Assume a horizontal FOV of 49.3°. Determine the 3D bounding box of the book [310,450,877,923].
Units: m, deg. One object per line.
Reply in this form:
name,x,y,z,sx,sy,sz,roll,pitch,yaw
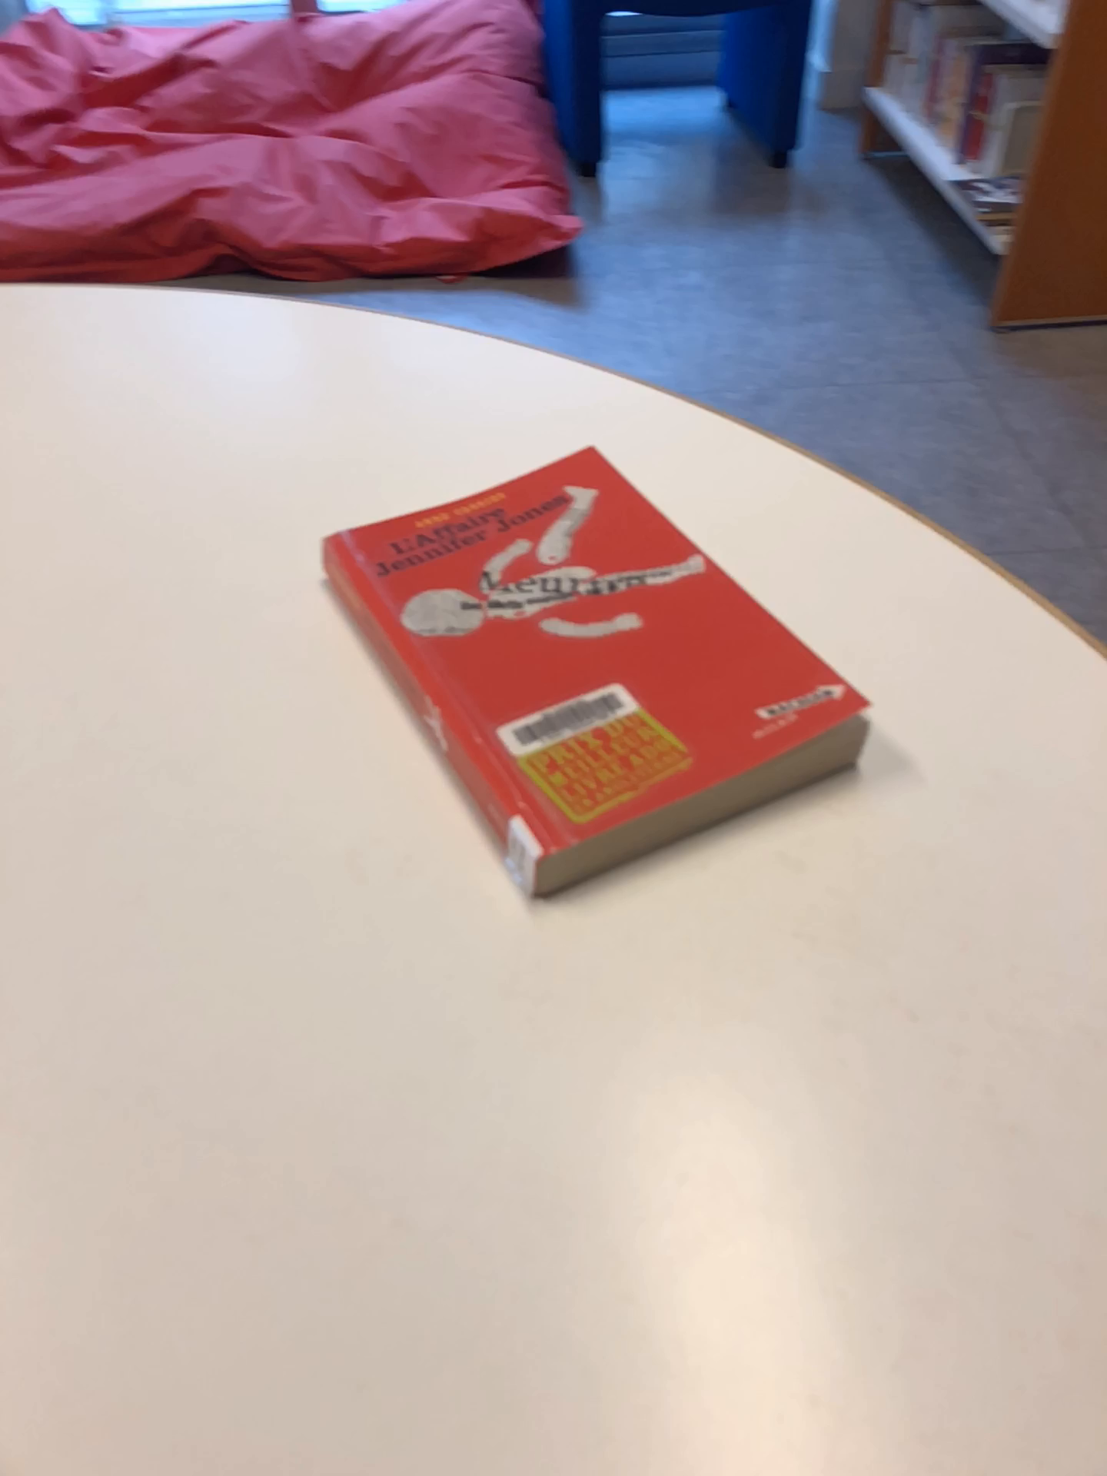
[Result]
book,0.005,-0.035,0.471,0.136,0.027,0.203,-22,47,-17
